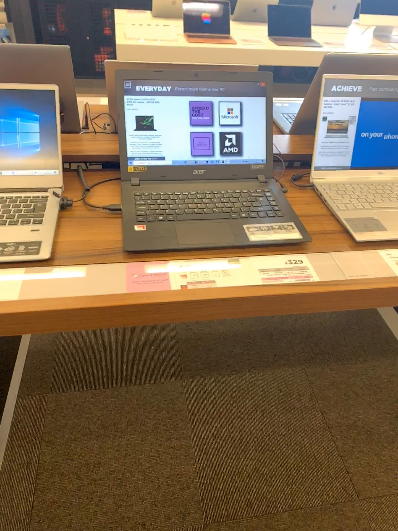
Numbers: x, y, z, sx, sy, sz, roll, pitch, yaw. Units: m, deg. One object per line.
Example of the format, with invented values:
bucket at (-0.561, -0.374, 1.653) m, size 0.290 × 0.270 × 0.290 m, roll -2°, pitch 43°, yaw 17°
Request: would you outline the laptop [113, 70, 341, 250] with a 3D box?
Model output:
laptop at (0.012, -0.218, 0.775) m, size 0.325 × 0.193 × 0.357 m, roll -3°, pitch 39°, yaw -10°
